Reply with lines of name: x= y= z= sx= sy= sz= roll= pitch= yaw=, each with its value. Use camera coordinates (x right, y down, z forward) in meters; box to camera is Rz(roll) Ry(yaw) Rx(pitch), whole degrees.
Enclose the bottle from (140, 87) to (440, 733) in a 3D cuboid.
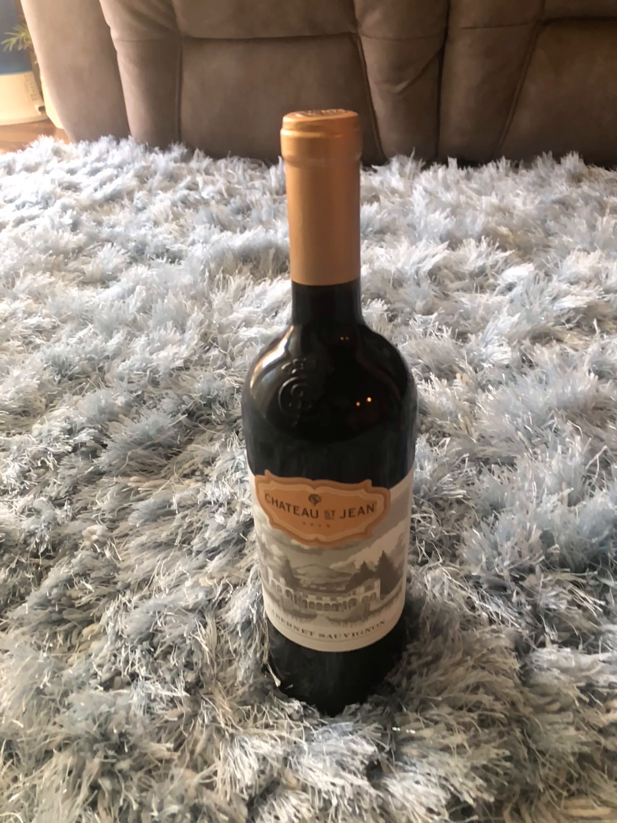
bottle: x=0.006 y=0.019 z=0.321 sx=0.090 sy=0.298 sz=0.090 roll=-3 pitch=33 yaw=2
